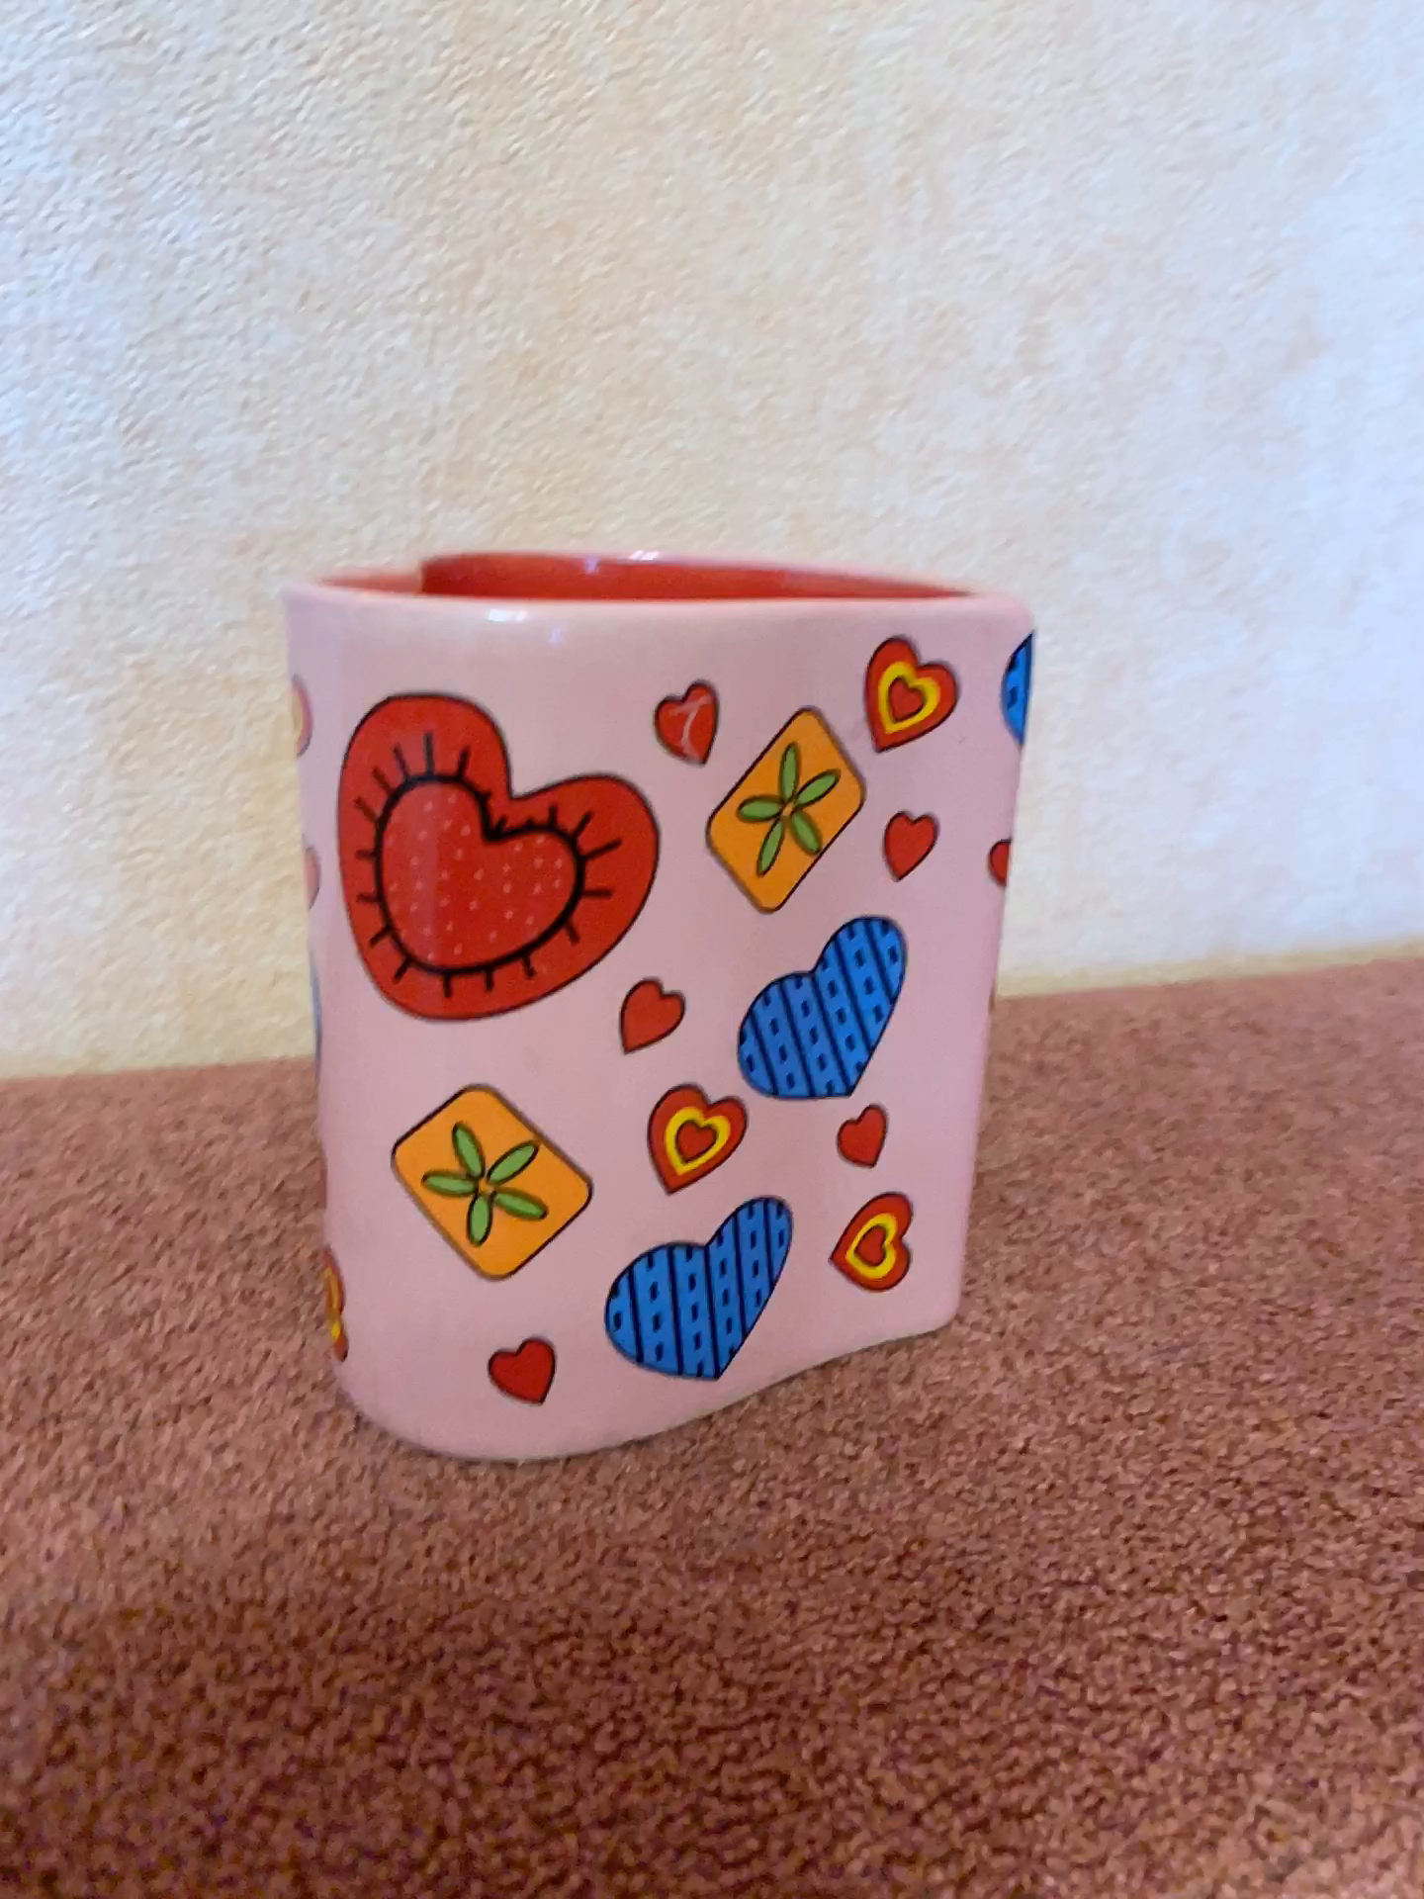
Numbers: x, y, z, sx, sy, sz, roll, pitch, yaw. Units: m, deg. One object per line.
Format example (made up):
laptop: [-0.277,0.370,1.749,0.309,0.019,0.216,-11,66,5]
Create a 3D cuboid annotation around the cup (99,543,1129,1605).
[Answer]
cup: [-0.015,0.000,0.182,0.085,0.091,0.082,2,18,-1]
